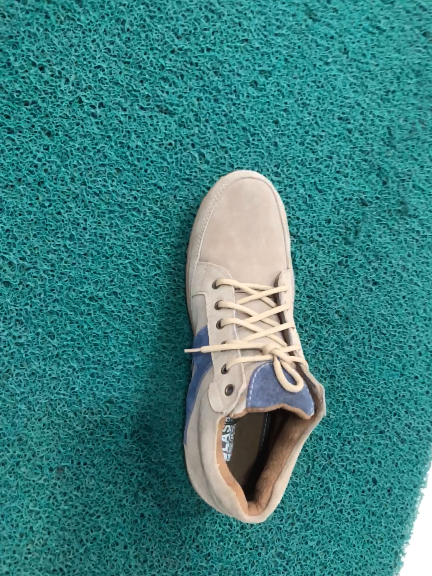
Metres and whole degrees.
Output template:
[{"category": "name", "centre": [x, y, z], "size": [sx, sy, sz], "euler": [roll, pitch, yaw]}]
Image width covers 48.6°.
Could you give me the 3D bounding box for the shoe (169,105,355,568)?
[{"category": "shoe", "centre": [0.032, 0.035, 0.403], "size": [0.100, 0.120, 0.320], "euler": [5, 86, -16]}]
